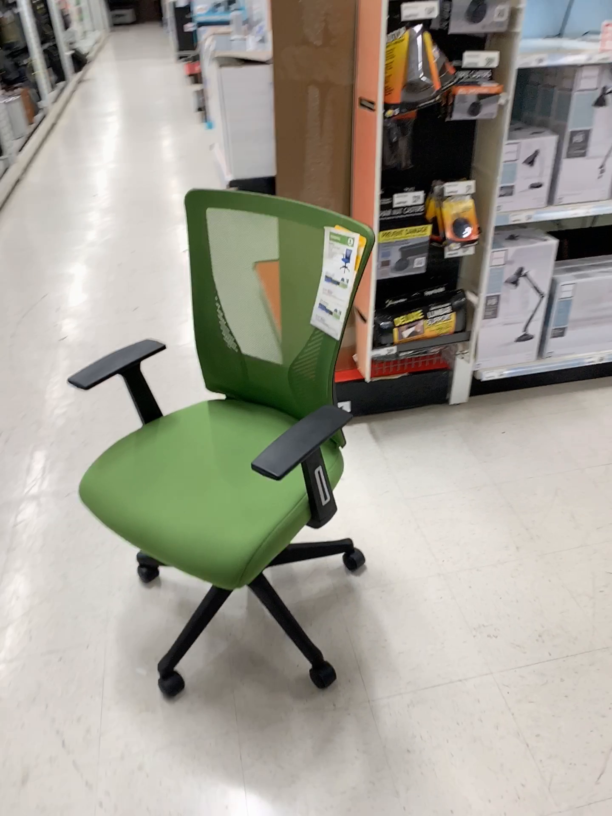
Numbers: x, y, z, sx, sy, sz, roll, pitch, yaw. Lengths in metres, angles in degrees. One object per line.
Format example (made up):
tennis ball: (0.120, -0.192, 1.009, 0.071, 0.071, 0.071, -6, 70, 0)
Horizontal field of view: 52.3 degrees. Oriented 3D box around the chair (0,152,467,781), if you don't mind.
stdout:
chair: (-0.156, 0.077, 1.355, 0.672, 0.994, 0.672, 20, 41, 28)
